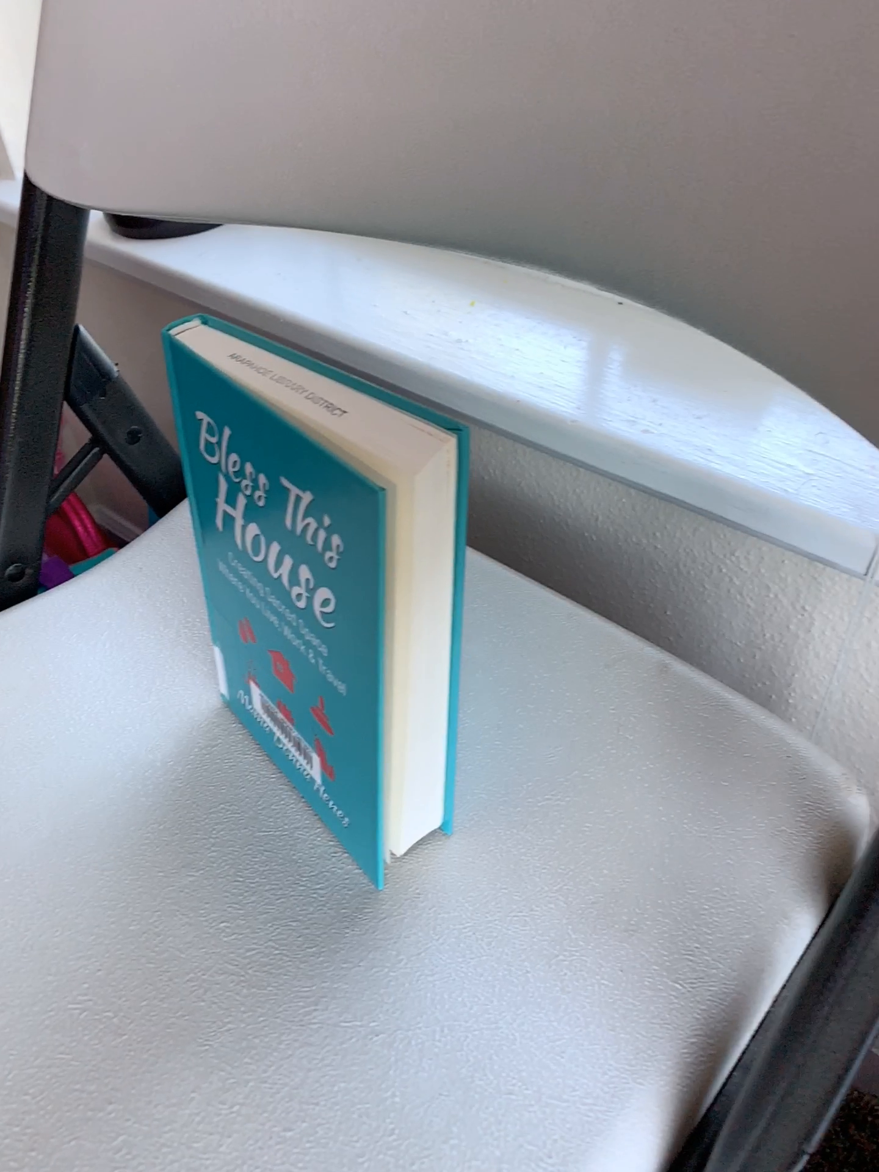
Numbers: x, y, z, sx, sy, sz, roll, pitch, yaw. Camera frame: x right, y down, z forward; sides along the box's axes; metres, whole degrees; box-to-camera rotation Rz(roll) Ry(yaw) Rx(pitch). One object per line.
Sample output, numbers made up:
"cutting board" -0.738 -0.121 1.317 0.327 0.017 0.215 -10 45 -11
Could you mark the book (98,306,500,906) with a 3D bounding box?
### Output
"book" -0.053 0.008 0.342 0.142 0.181 0.051 31 45 34
